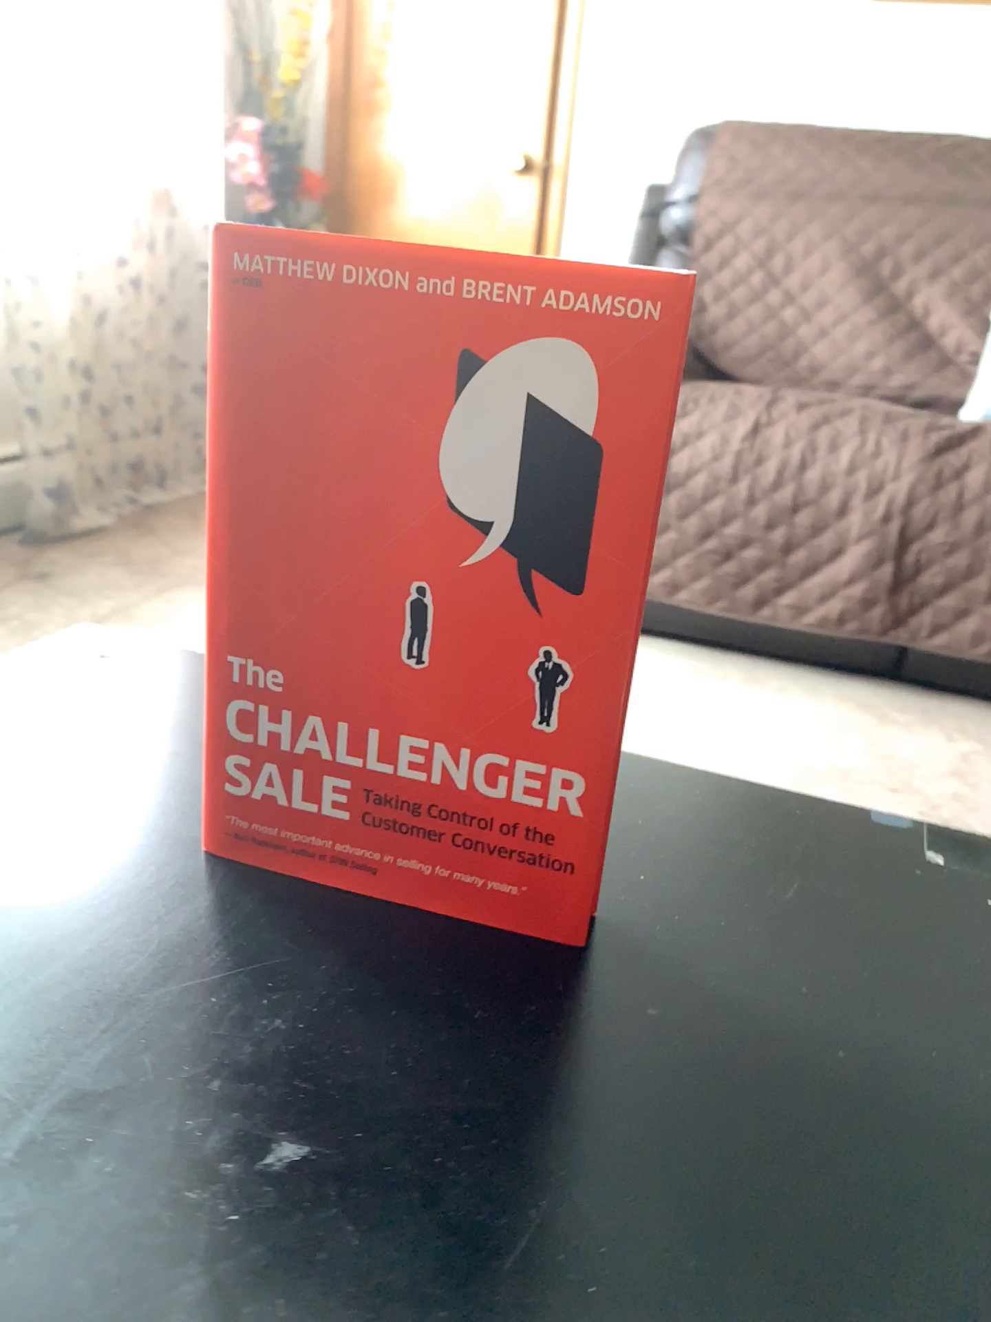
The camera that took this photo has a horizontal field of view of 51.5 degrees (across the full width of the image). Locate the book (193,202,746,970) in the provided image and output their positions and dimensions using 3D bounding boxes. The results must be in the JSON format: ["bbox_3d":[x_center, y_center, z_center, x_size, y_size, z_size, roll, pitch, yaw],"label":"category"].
[{"bbox_3d":[-0.020,-0.023,0.363,0.170,0.239,0.040,11,20,13],"label":"book"}]
